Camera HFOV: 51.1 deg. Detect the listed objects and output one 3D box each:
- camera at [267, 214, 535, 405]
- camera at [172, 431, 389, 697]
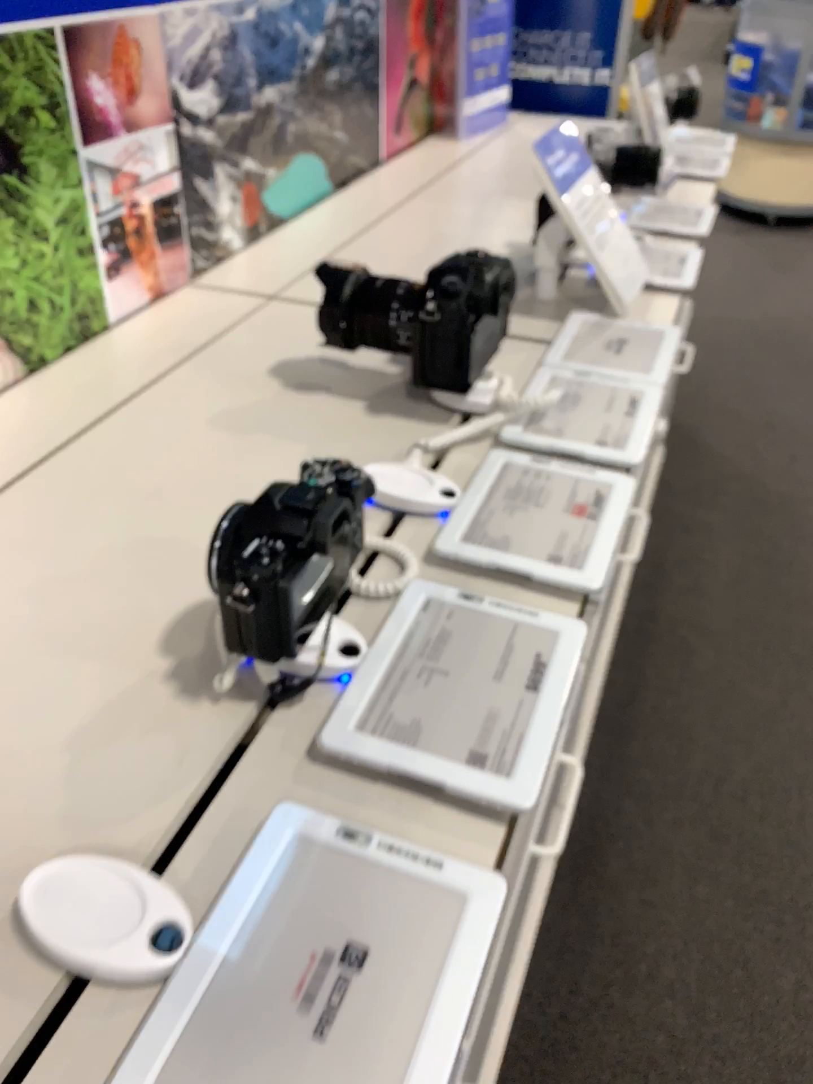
[{"bbox_3d":[-0.001,-0.218,0.776,0.200,0.099,0.141,12,39,15],"label":"camera"},{"bbox_3d":[-0.065,0.008,0.494,0.070,0.080,0.131,12,39,14],"label":"camera"}]
